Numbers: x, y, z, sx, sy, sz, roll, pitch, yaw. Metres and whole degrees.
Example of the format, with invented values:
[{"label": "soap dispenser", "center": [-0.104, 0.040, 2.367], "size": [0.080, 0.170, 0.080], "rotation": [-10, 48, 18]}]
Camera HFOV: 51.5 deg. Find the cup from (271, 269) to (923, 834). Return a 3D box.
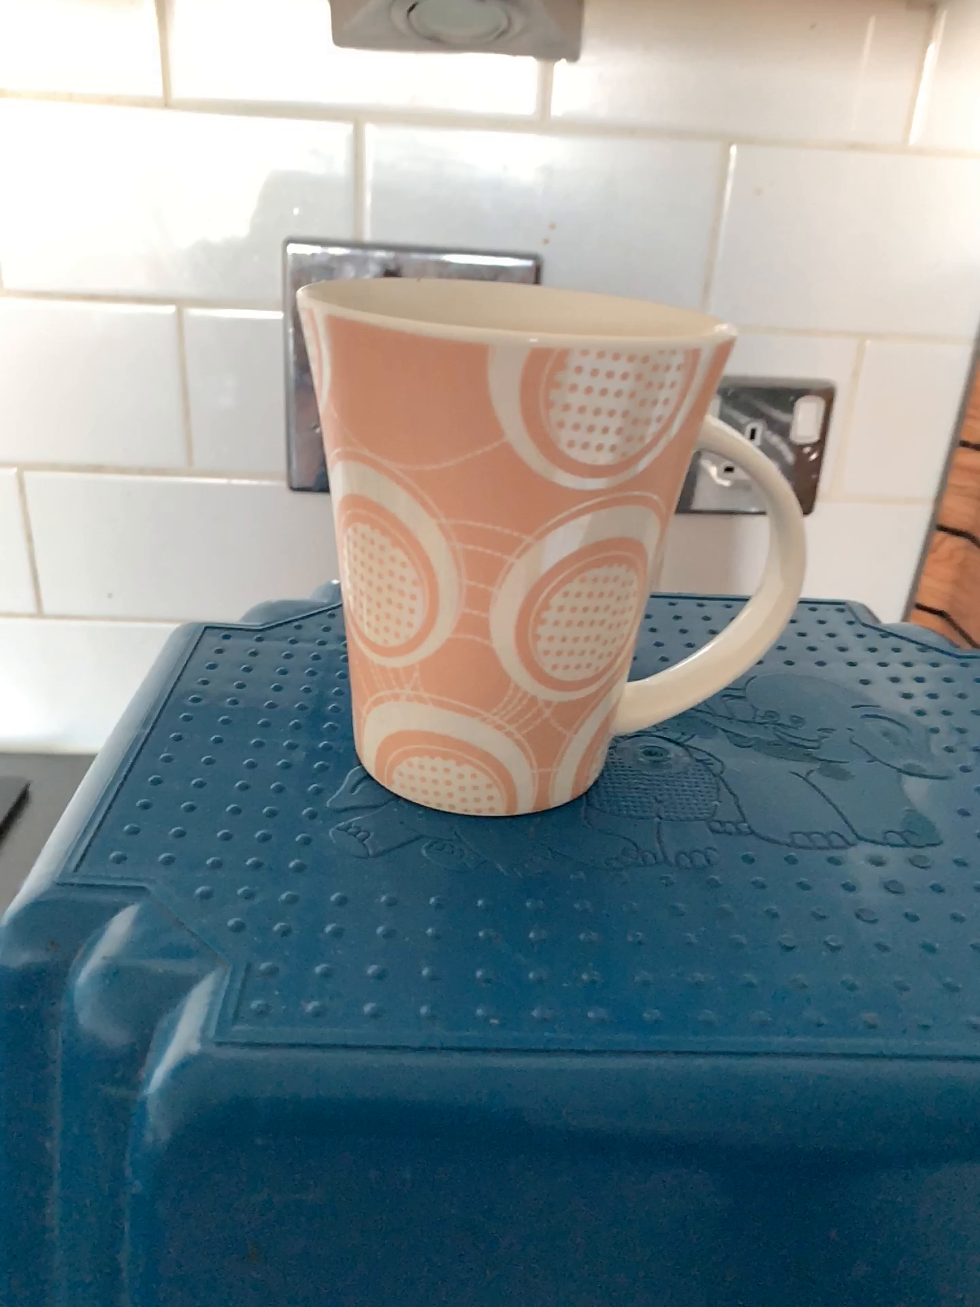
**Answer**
[{"label": "cup", "center": [0.015, -0.026, 0.236], "size": [0.116, 0.105, 0.078], "rotation": [2, 25, -4]}]
